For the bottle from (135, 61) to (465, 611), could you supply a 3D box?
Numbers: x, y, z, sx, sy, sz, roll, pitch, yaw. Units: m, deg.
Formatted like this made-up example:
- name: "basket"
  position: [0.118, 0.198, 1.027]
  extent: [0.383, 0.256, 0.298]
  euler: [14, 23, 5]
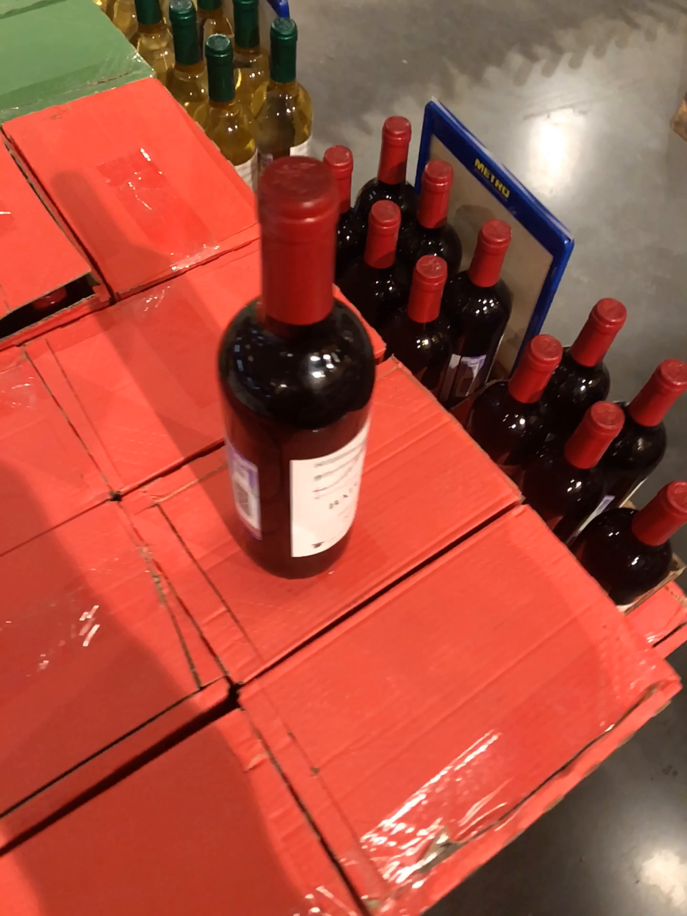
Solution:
- name: "bottle"
  position: [-0.023, -0.026, 0.378]
  extent: [0.080, 0.288, 0.090]
  euler: [23, 60, 8]
